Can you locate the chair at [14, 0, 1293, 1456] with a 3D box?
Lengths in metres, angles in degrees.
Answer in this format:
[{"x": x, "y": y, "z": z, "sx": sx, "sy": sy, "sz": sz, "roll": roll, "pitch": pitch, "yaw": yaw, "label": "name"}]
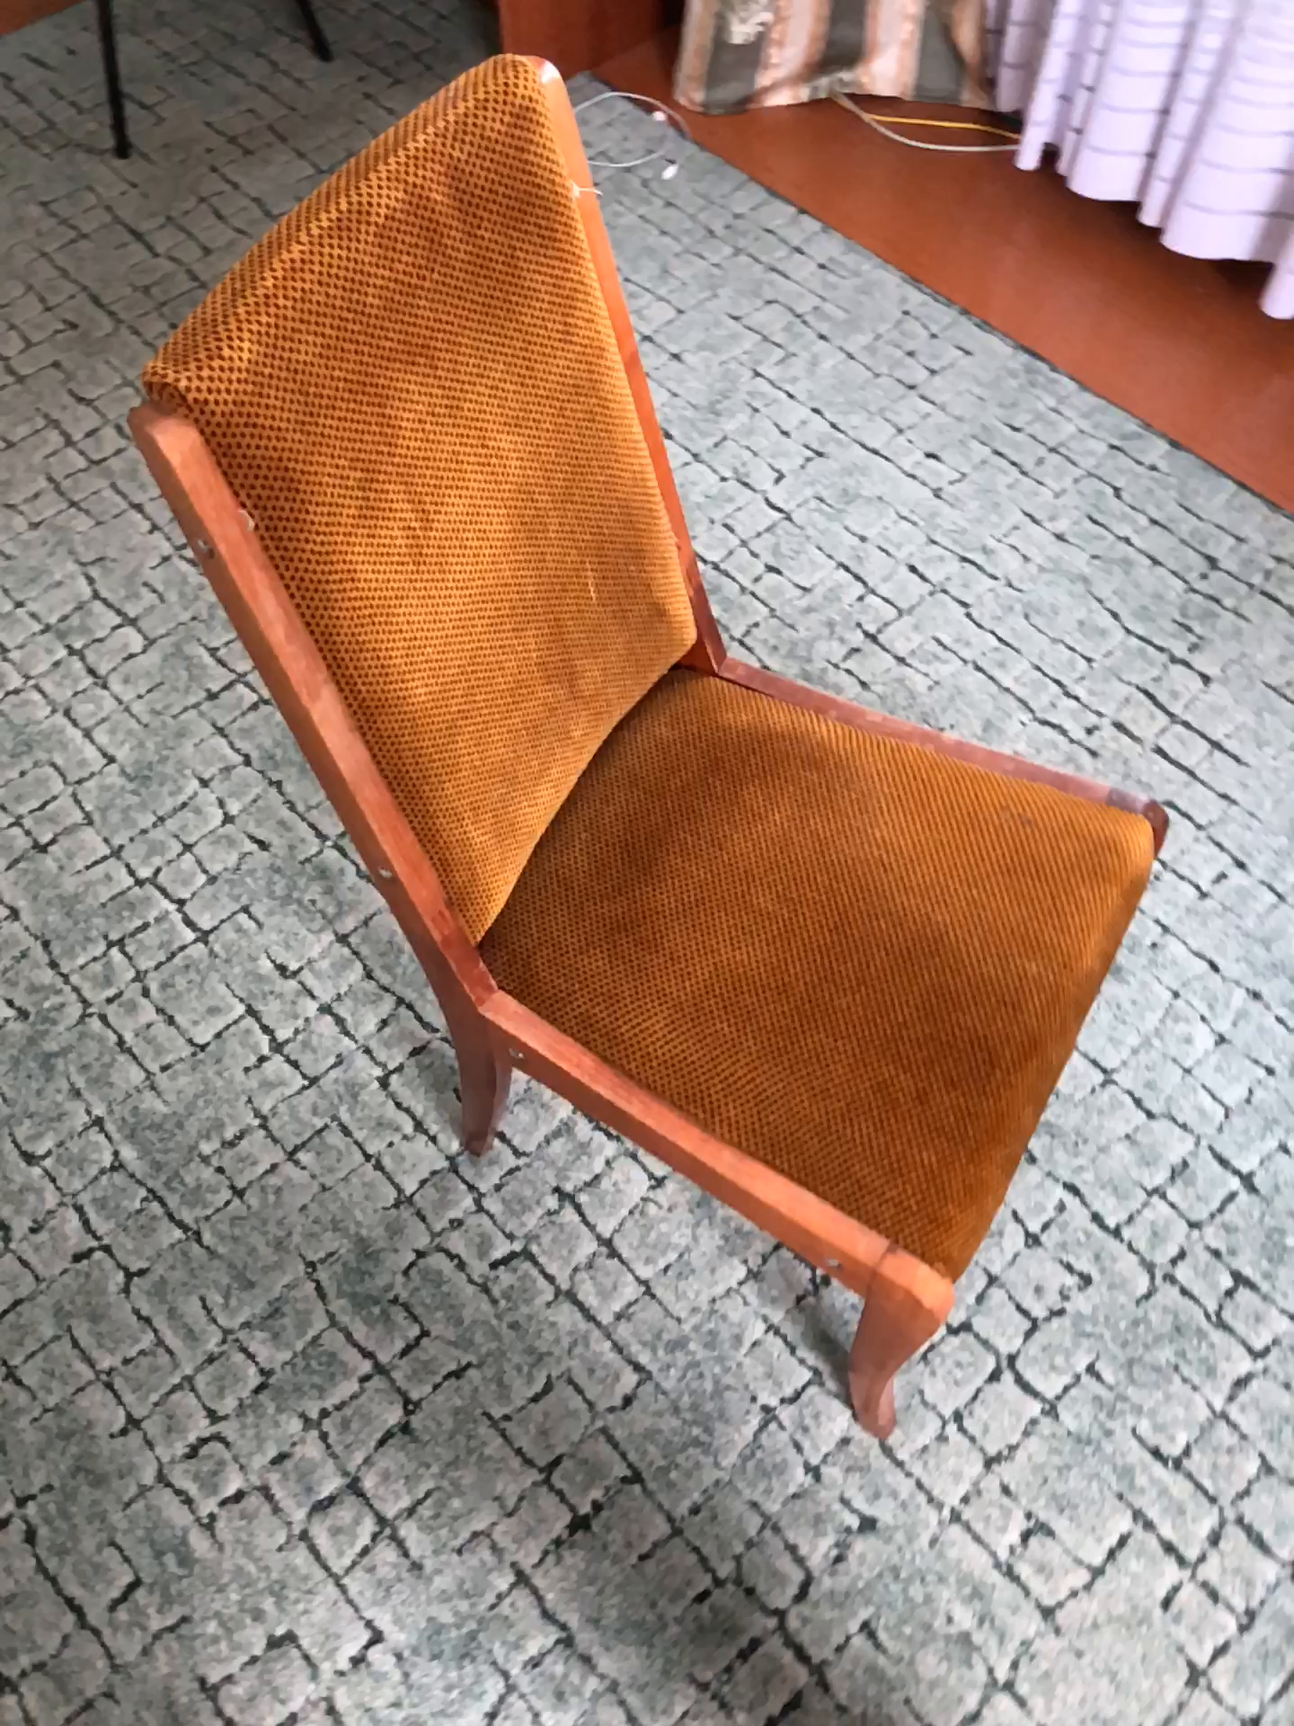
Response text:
[{"x": 0.092, "y": -0.010, "z": 1.015, "sx": 0.529, "sy": 0.925, "sz": 0.472, "roll": 25, "pitch": 62, "yaw": 15, "label": "chair"}]
